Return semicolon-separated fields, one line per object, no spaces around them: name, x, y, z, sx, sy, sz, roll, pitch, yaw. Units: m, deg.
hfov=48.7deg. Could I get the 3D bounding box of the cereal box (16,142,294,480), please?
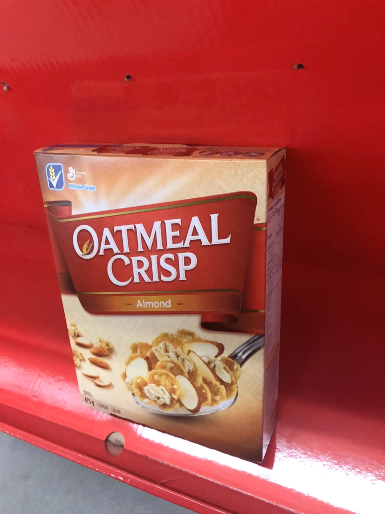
cereal box;-0.029;0.041;0.385;0.211;0.269;0.070;8;24;22
